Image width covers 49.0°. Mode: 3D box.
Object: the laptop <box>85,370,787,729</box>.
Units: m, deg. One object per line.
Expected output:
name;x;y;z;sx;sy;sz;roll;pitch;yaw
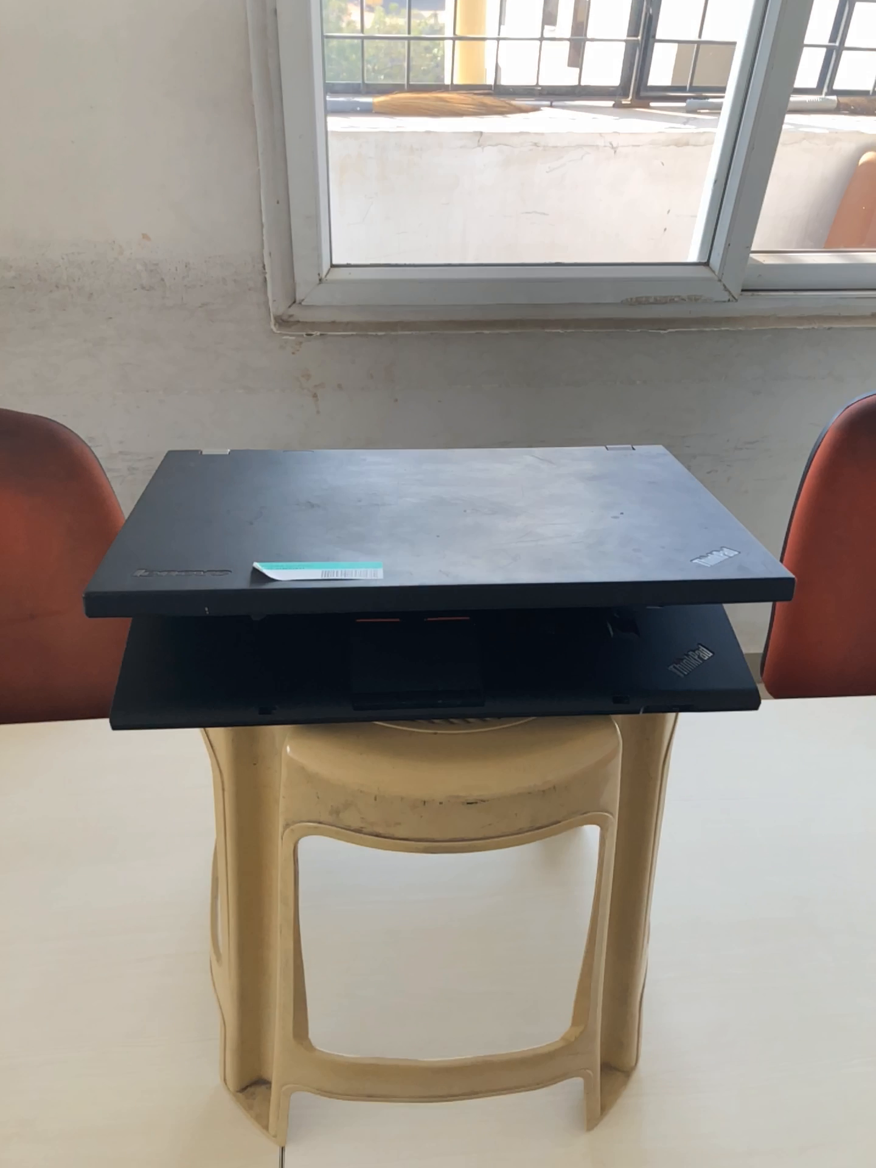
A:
laptop;-0.003;-0.036;0.603;0.362;0.074;0.236;-2;43;-5
